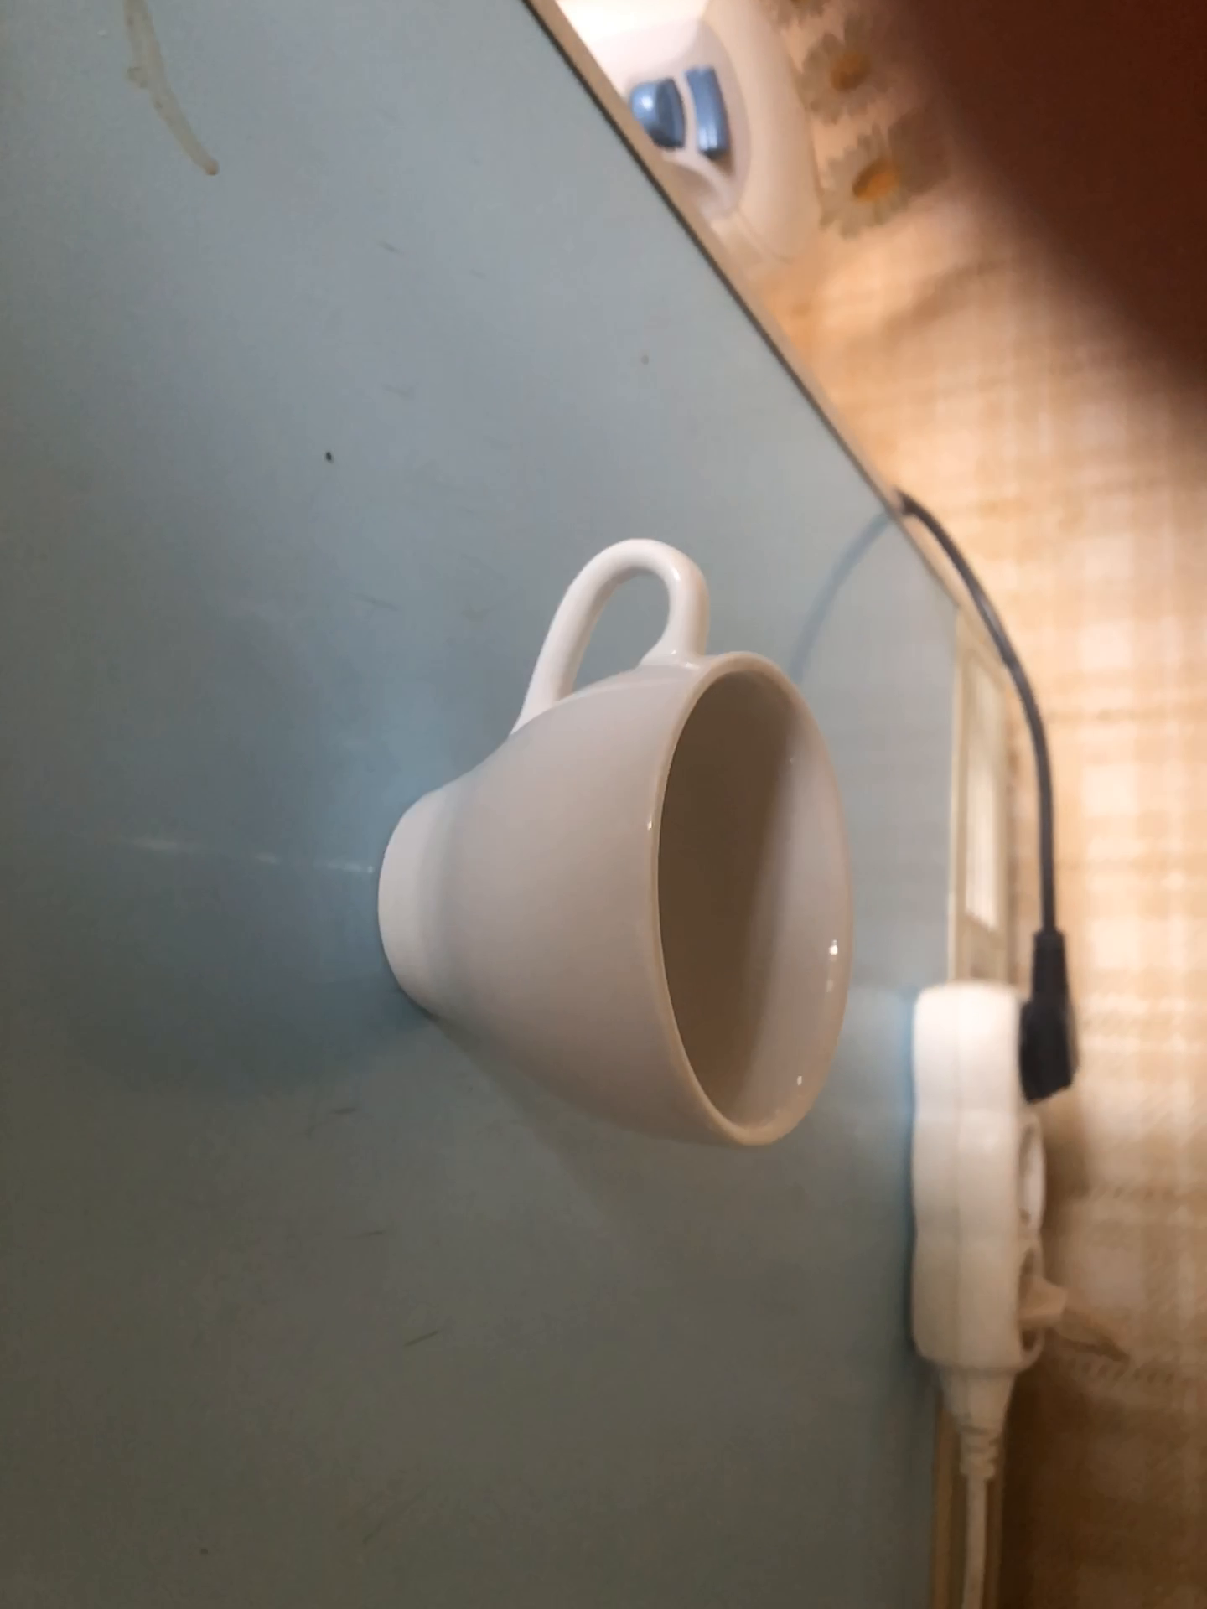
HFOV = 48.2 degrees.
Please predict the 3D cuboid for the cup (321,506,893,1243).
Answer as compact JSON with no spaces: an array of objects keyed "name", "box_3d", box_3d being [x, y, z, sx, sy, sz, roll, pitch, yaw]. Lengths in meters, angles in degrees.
[{"name":"cup","box_3d":[0.007,0.009,0.250,0.097,0.057,0.106,11,78,-60]}]
